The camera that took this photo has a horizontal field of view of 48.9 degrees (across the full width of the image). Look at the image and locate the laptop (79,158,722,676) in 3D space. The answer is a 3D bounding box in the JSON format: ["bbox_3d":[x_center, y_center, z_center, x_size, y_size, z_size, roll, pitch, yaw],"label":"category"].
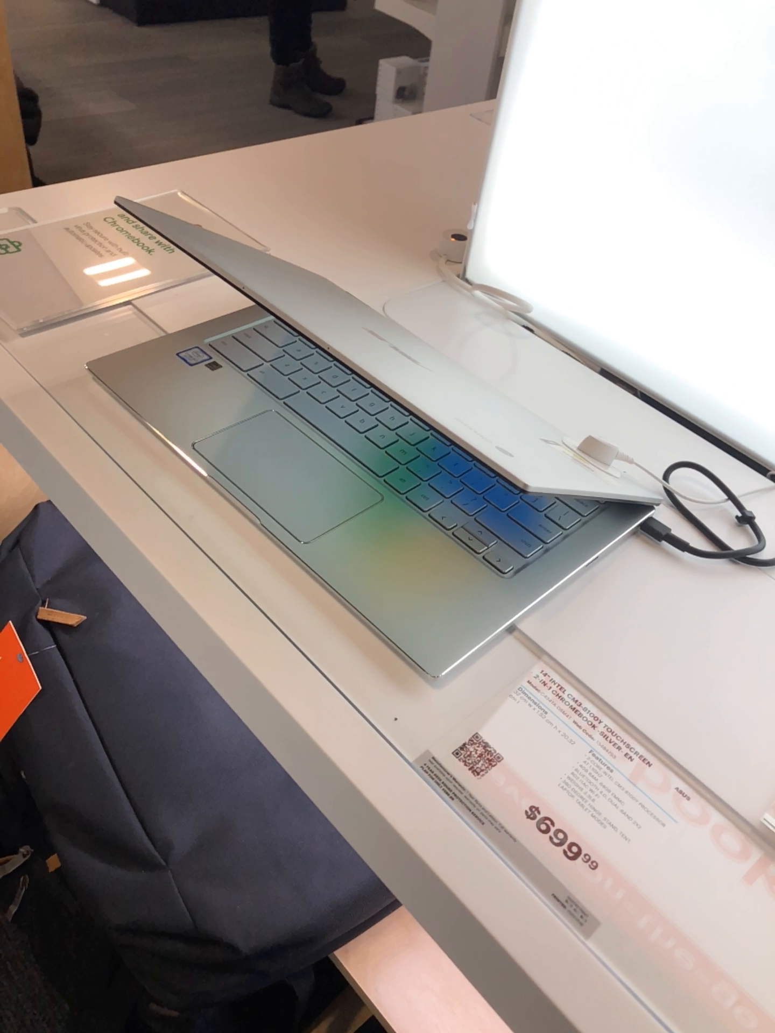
[{"bbox_3d":[-0.008,-0.088,0.495,0.193,0.102,0.312,-29,54,-34],"label":"laptop"}]
